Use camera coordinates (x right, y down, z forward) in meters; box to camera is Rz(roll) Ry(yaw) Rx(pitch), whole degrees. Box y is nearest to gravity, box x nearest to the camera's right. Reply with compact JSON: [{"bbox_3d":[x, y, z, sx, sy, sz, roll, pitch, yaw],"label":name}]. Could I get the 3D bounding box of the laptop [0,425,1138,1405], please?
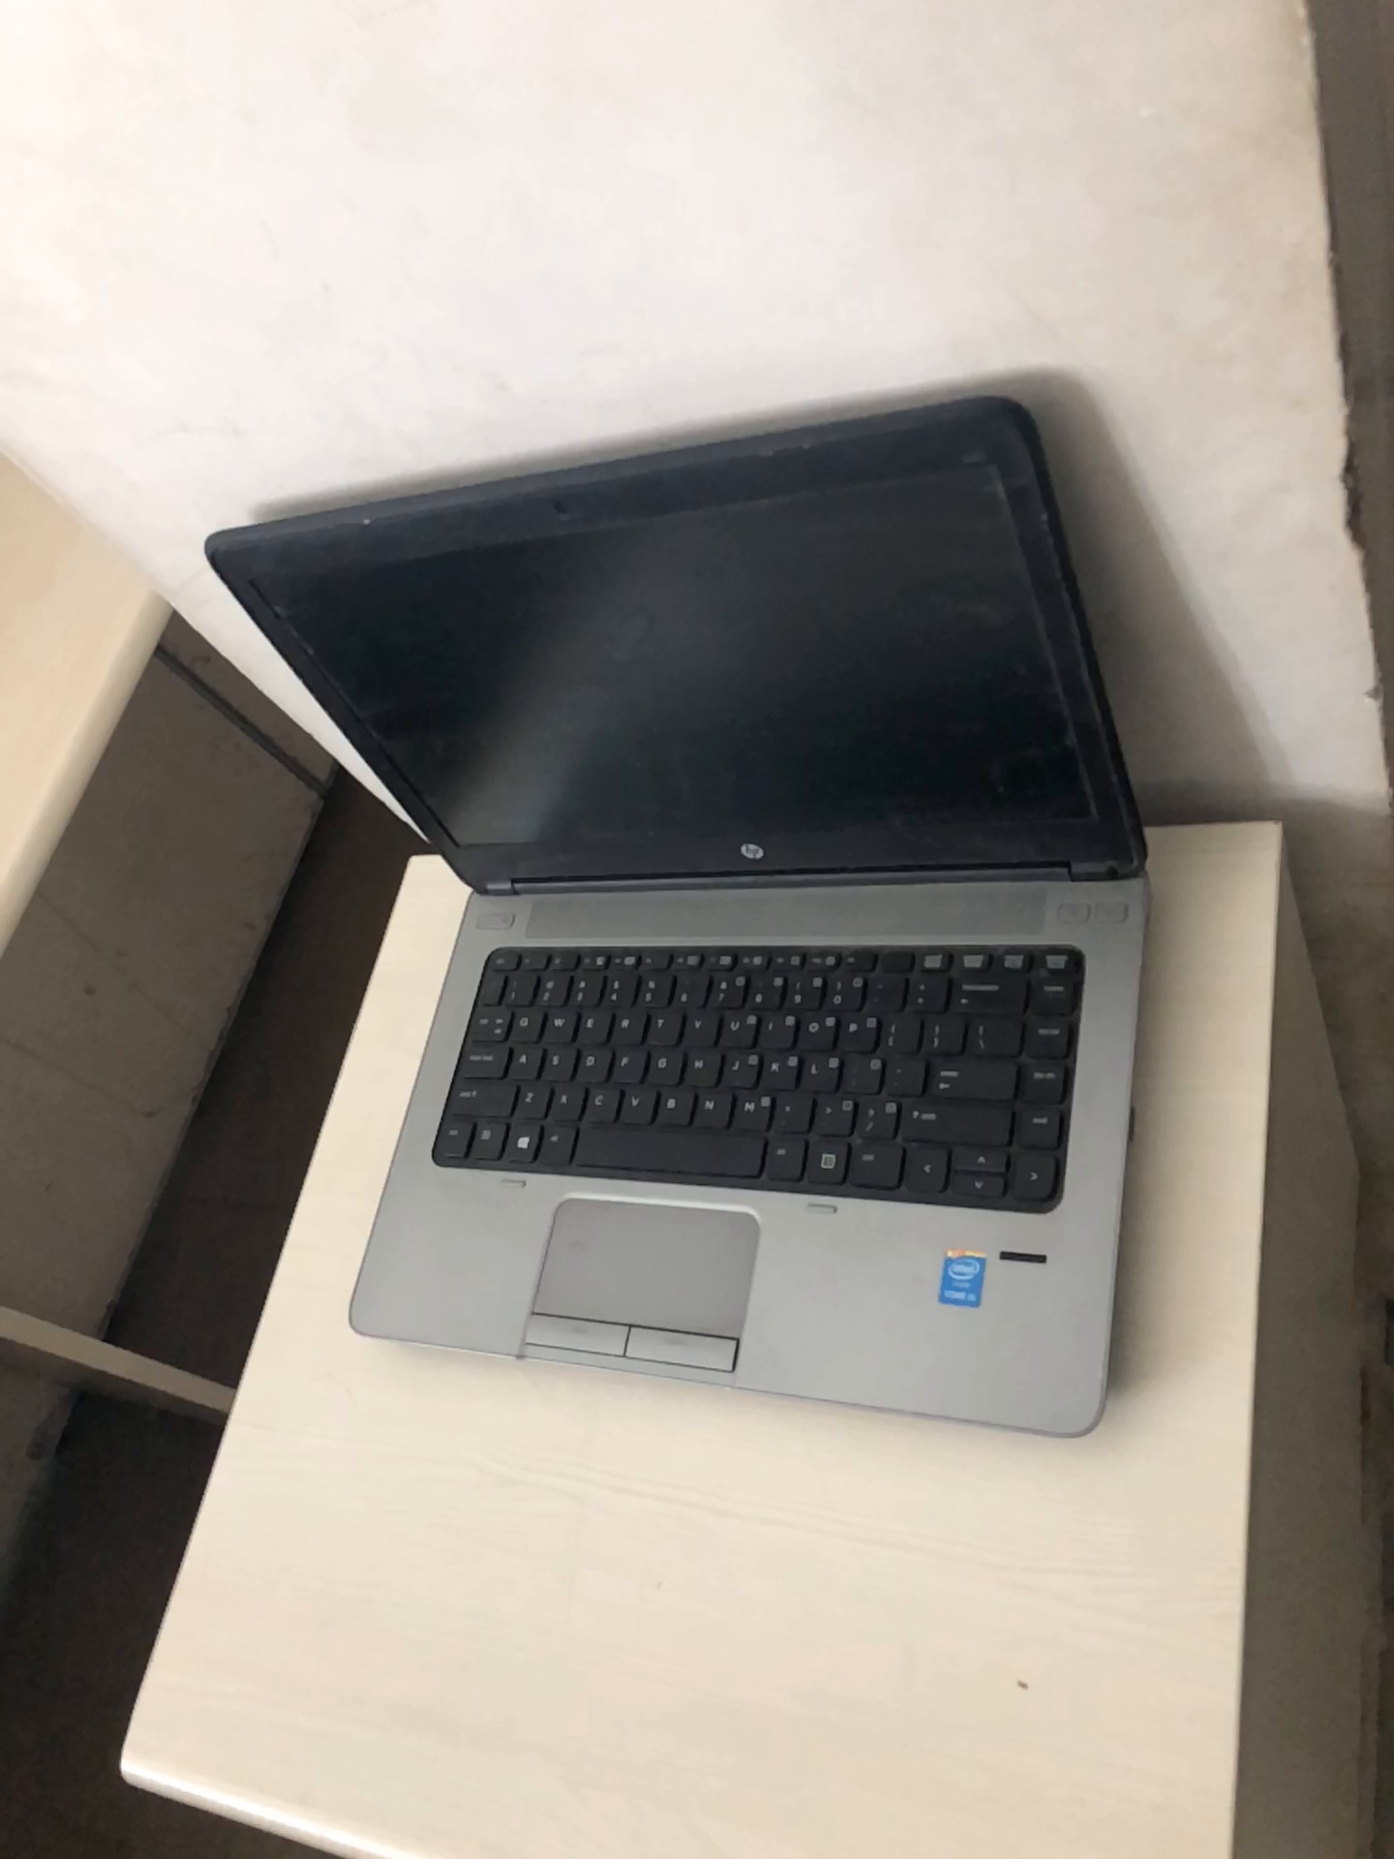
[{"bbox_3d":[-0.030,0.008,0.548,0.304,0.209,0.237,0,62,27],"label":"laptop"}]
